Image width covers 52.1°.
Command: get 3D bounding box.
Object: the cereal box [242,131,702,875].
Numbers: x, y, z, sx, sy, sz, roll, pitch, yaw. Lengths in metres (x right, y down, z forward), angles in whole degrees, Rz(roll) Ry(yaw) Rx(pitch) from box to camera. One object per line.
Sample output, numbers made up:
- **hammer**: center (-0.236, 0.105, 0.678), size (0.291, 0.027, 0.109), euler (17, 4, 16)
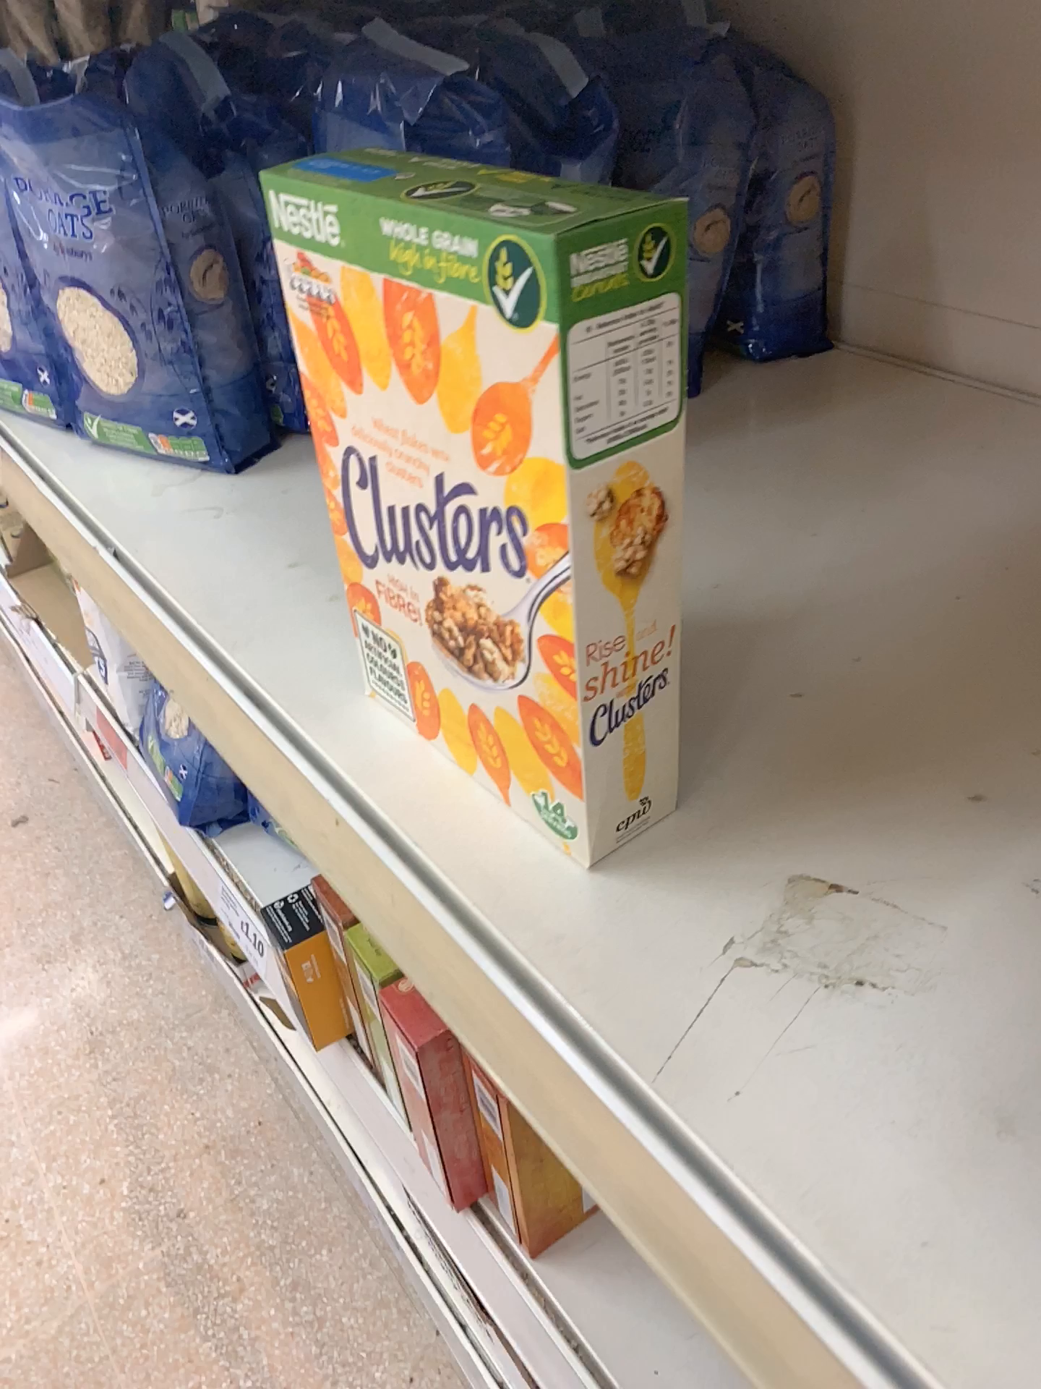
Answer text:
- **cereal box**: center (-0.019, -0.085, 0.467), size (0.060, 0.267, 0.201), euler (-28, 42, -29)
